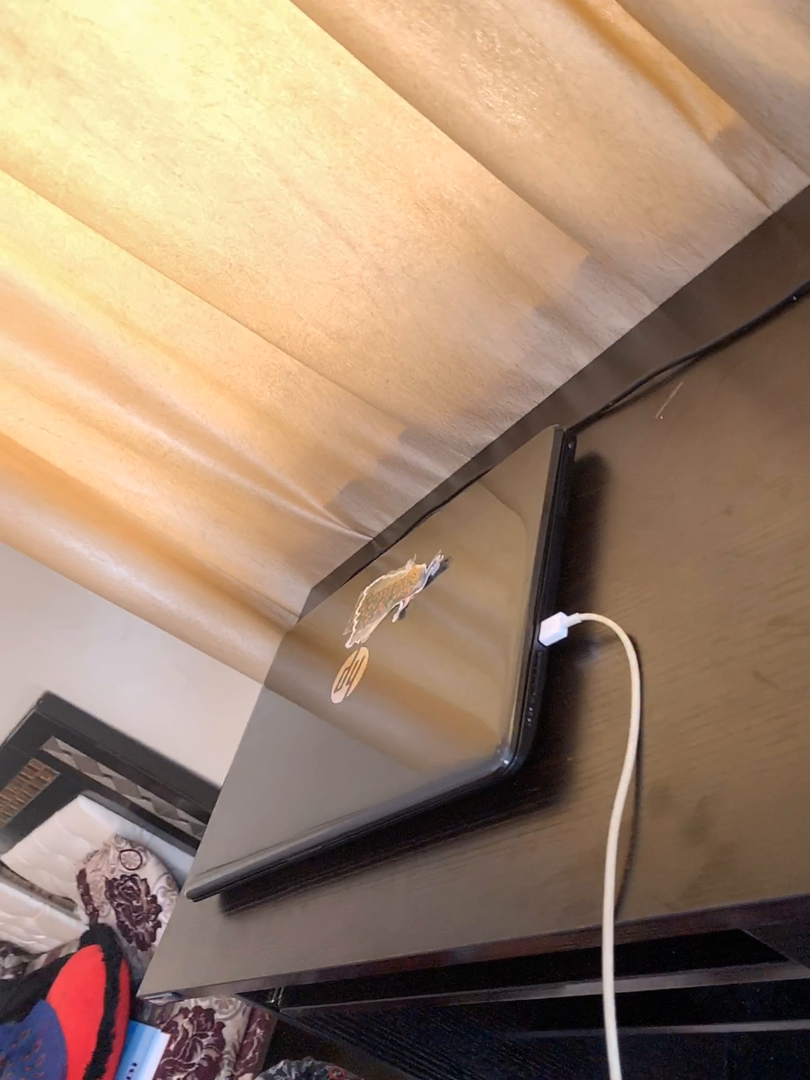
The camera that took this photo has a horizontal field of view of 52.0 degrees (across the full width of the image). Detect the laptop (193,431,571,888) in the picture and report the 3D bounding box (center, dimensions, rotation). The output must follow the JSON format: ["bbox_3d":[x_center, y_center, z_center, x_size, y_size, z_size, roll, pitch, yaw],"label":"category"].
[{"bbox_3d":[-0.028,0.099,0.584,0.374,0.006,0.238,-39,24,44],"label":"laptop"}]
